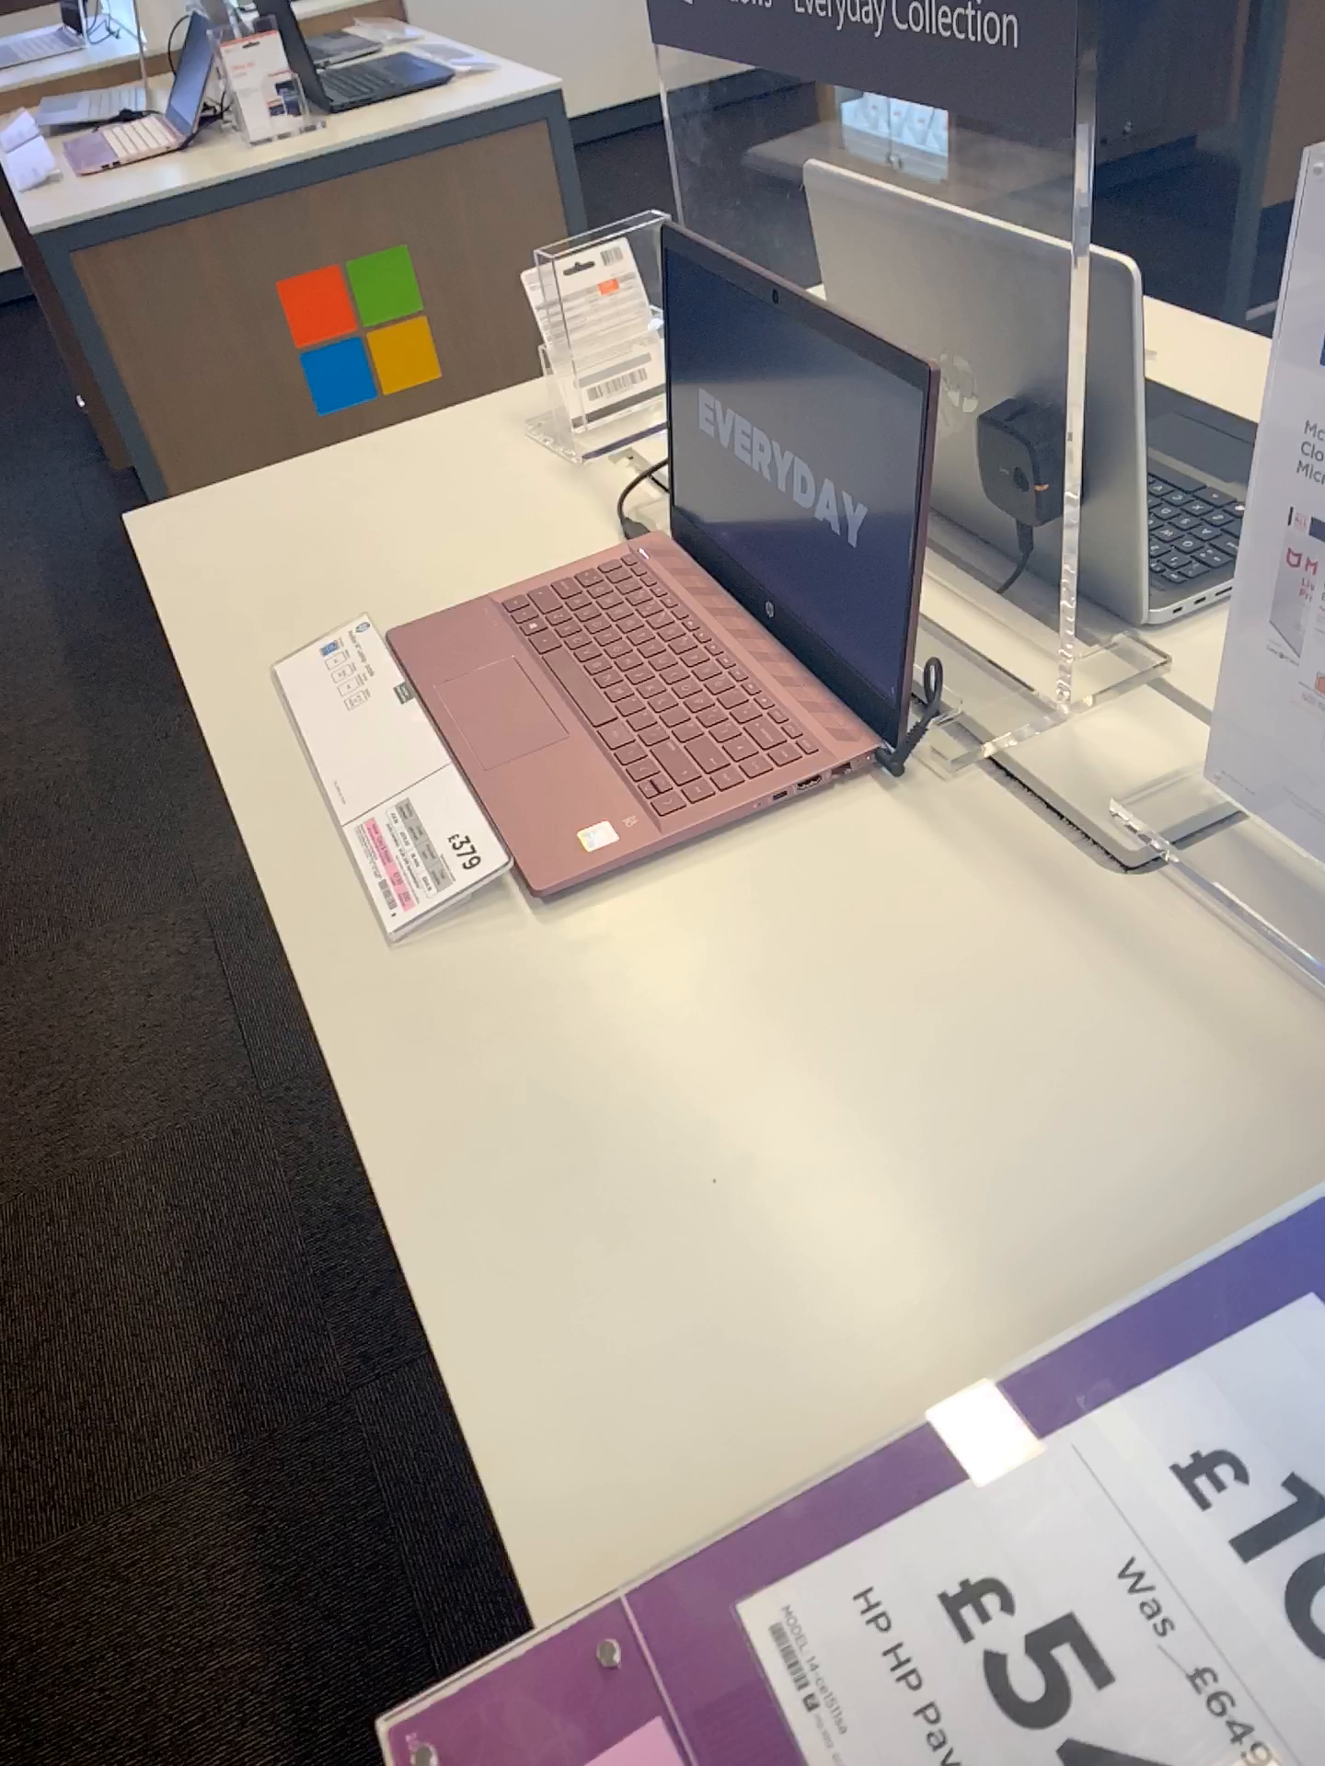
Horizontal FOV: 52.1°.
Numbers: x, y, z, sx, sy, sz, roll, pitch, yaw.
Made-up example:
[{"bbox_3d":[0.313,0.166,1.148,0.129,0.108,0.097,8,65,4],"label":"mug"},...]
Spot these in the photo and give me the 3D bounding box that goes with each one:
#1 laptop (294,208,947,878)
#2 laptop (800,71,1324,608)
[{"bbox_3d":[-0.030,-0.214,0.779,0.249,0.200,0.314,-22,42,-12],"label":"laptop"},{"bbox_3d":[0.280,-0.364,0.862,0.244,0.186,0.326,-23,42,-14],"label":"laptop"}]
